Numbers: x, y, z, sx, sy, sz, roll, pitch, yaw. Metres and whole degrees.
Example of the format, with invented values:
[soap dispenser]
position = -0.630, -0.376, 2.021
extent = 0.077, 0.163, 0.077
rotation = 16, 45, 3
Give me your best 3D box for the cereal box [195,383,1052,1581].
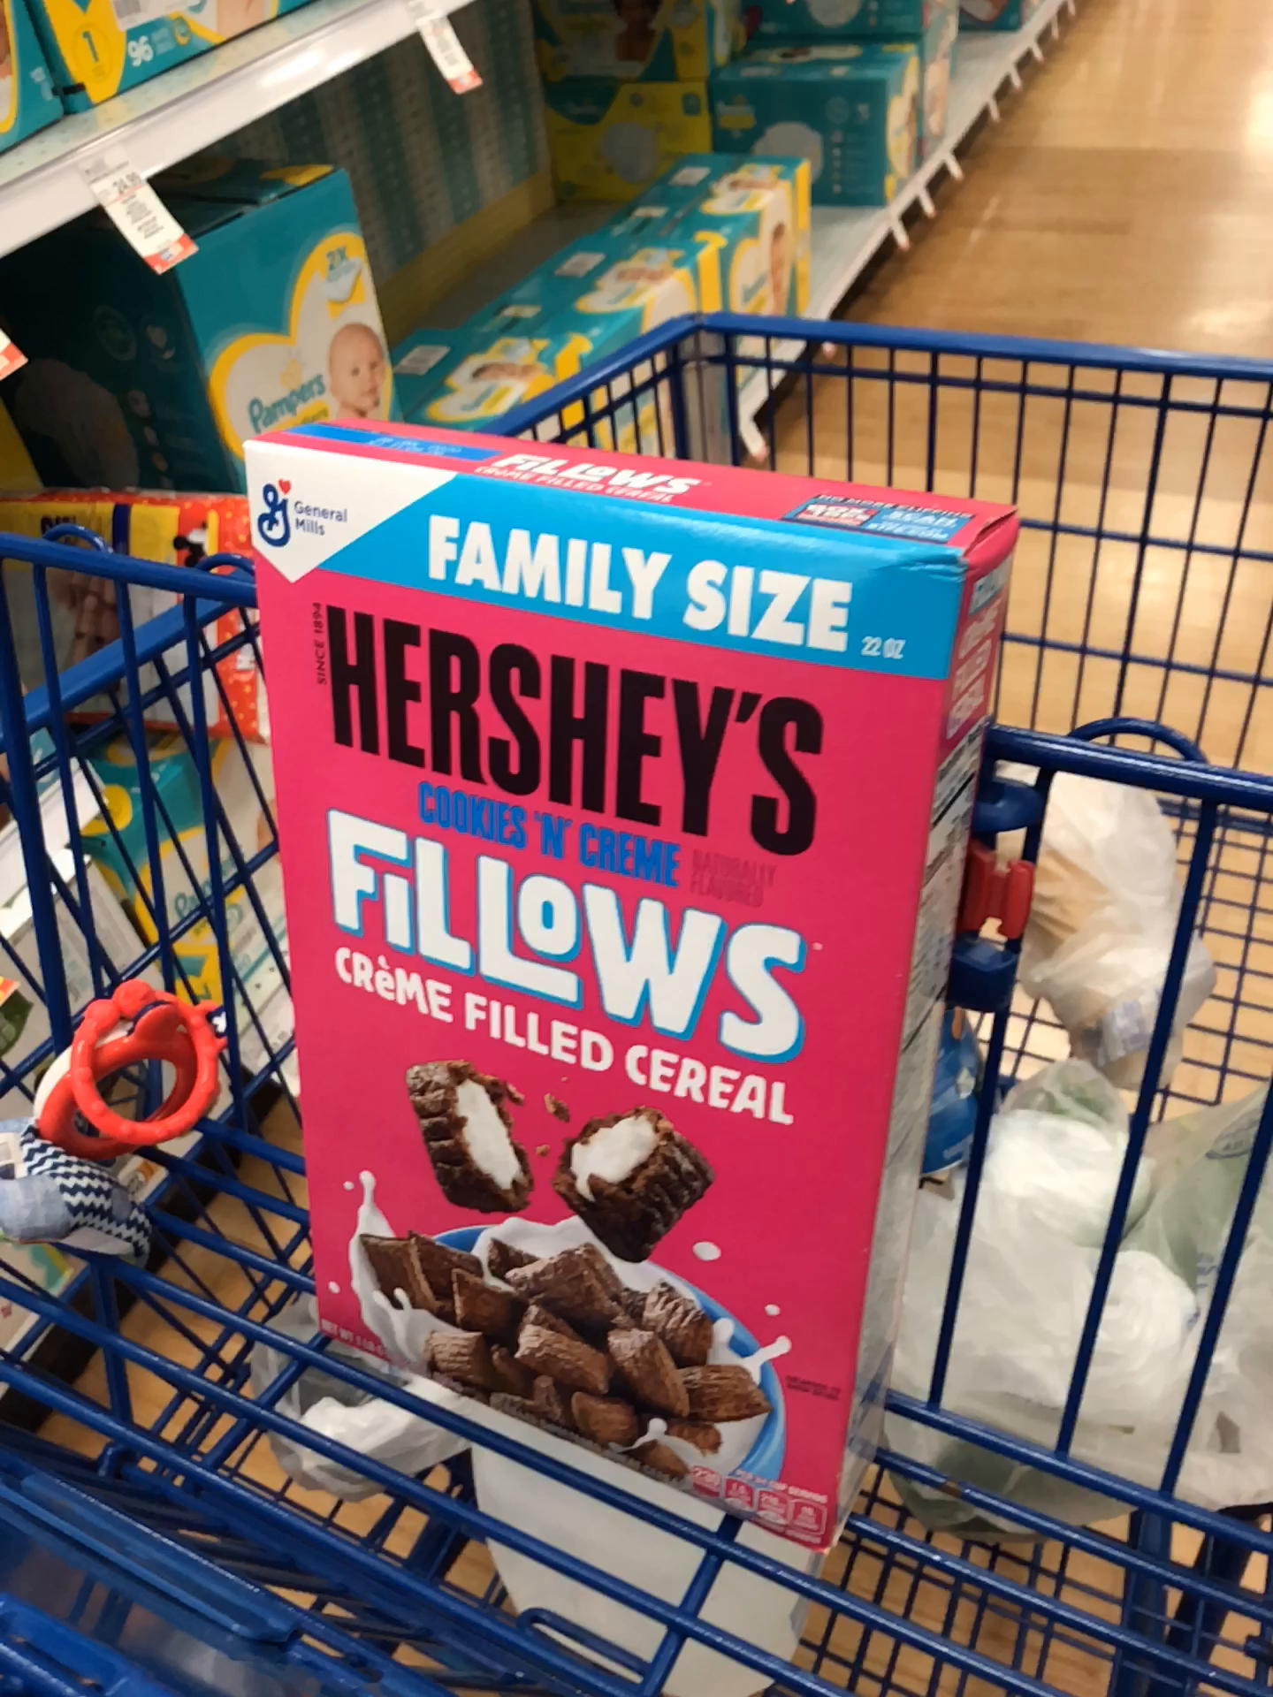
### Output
[cereal box]
position = -0.015, 0.037, 0.399
extent = 0.200, 0.299, 0.060
rotation = 14, 27, 23
